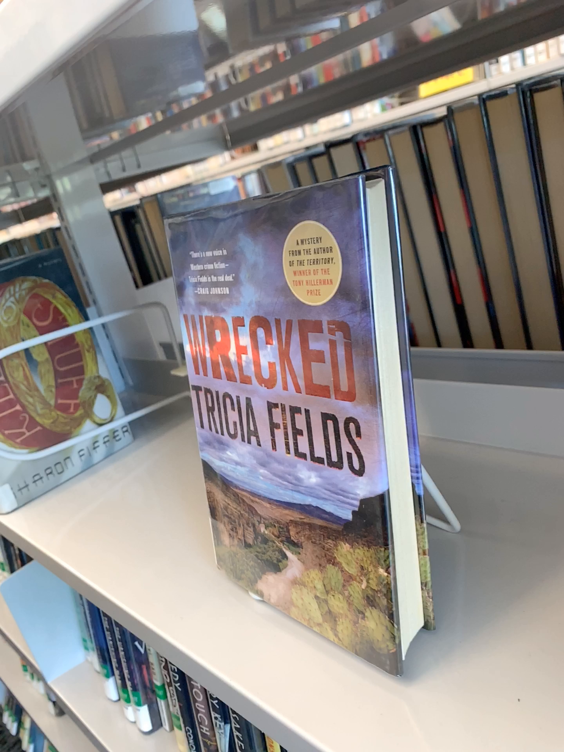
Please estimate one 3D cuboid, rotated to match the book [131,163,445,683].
[{"bbox_3d":[-0.004,0.016,0.288,0.040,0.203,0.150,-17,15,-38],"label":"book"}]
